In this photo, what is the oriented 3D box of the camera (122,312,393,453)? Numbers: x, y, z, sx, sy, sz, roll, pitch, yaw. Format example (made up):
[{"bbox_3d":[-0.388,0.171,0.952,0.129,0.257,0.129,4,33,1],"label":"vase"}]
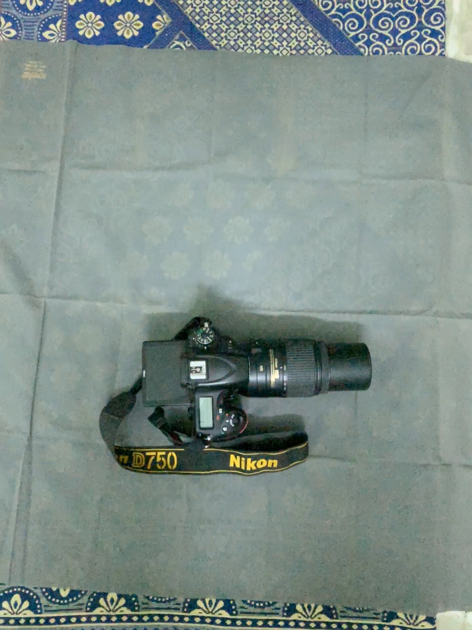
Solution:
[{"bbox_3d":[0.024,0.076,0.574,0.288,0.110,0.147,0,84,2],"label":"camera"}]
